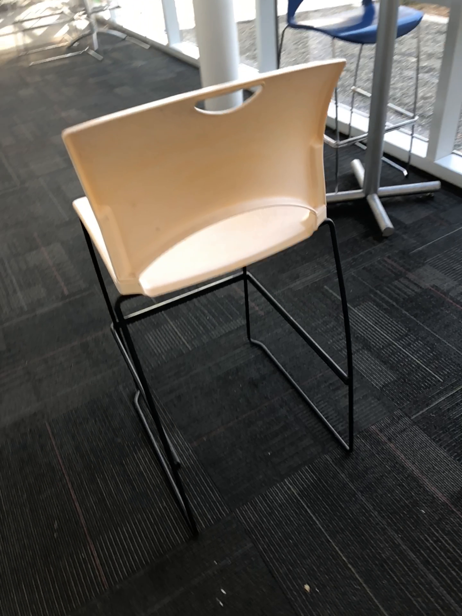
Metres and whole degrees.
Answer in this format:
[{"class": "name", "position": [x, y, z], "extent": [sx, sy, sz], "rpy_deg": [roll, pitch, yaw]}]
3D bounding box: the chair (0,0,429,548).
[{"class": "chair", "position": [-0.074, -0.094, 1.259], "extent": [0.580, 0.995, 0.723], "rpy_deg": [-22, 42, -17]}]
